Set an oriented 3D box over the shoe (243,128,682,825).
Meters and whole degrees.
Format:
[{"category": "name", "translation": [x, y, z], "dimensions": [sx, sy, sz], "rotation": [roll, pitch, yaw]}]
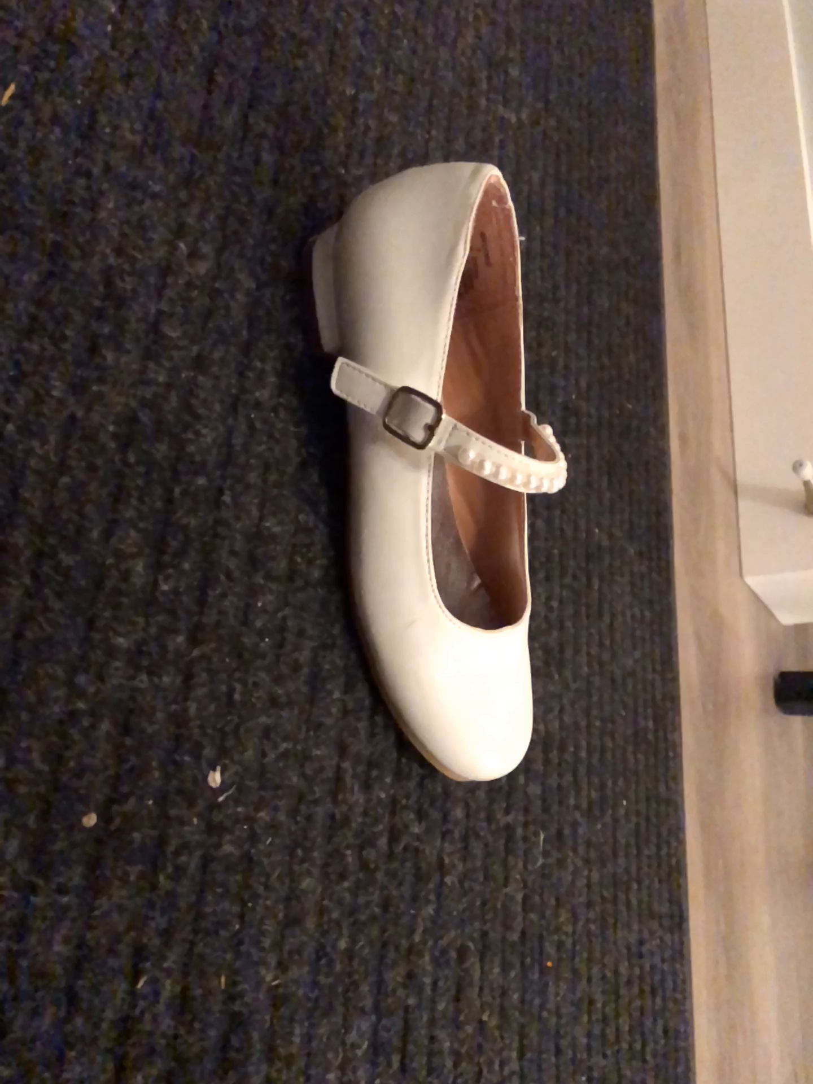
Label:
[{"category": "shoe", "translation": [0.023, -0.016, 0.310], "dimensions": [0.080, 0.080, 0.200], "rotation": [-17, 94, -58]}]
